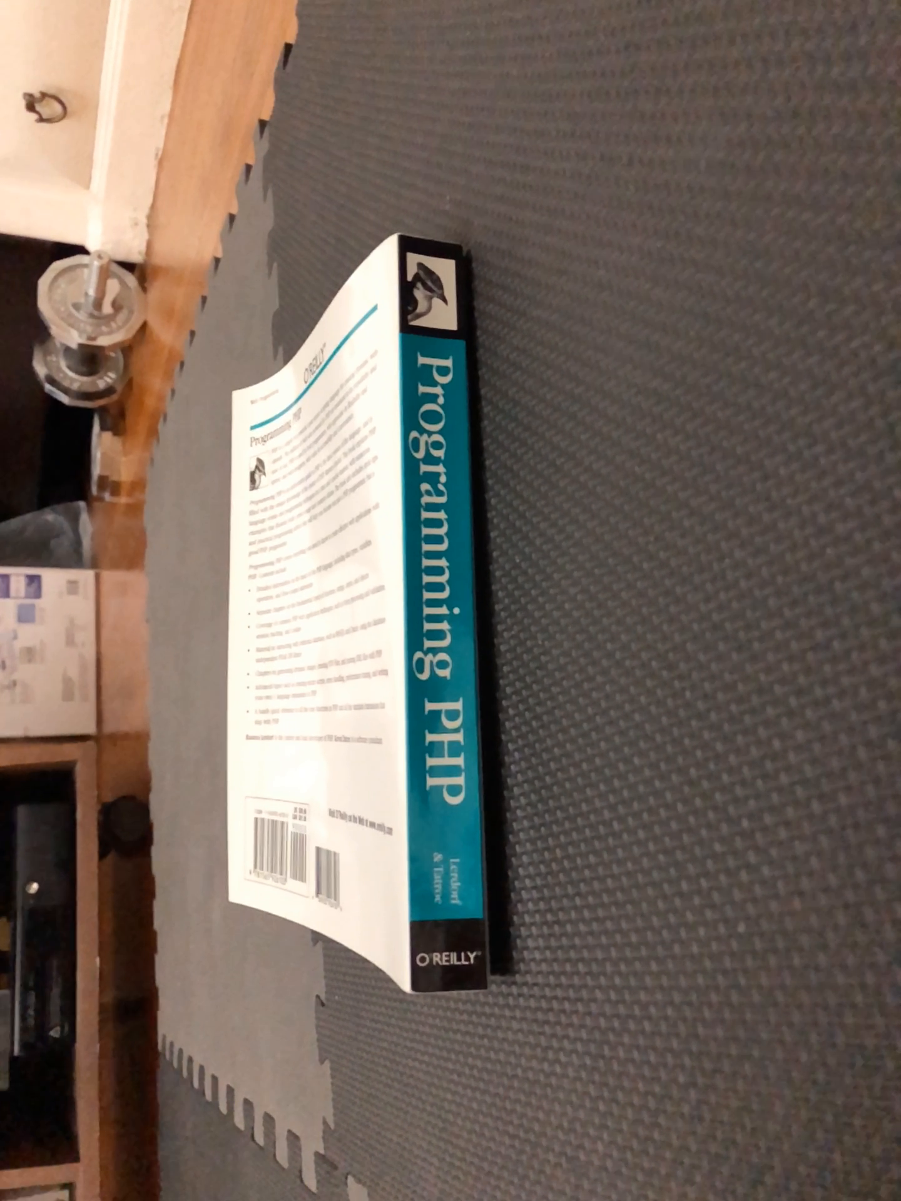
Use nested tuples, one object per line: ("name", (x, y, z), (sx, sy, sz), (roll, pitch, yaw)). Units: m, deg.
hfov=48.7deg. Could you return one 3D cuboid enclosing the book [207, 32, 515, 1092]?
("book", (-0.052, -0.006, 0.382), (0.231, 0.040, 0.290), (163, 106, -66))
